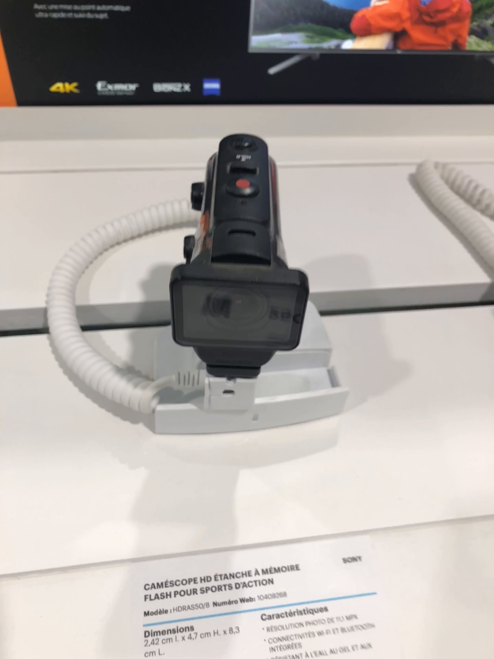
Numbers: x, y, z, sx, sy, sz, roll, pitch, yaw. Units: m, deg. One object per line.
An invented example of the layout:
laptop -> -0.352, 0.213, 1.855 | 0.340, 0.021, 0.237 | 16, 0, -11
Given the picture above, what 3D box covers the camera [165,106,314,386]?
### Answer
camera -> -0.004, -0.032, 0.219 | 0.045, 0.064, 0.088 | 2, 56, -3
